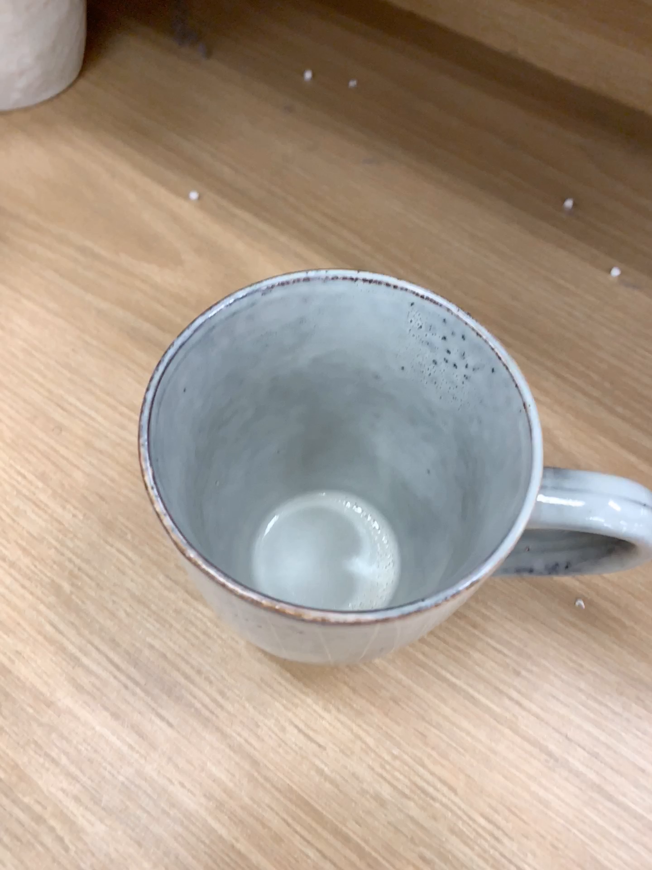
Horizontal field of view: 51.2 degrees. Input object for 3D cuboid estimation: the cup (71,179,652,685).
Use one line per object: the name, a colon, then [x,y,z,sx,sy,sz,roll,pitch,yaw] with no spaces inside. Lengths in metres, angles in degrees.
cup: [0.019,0.006,0.206,0.136,0.098,0.107,6,63,1]
